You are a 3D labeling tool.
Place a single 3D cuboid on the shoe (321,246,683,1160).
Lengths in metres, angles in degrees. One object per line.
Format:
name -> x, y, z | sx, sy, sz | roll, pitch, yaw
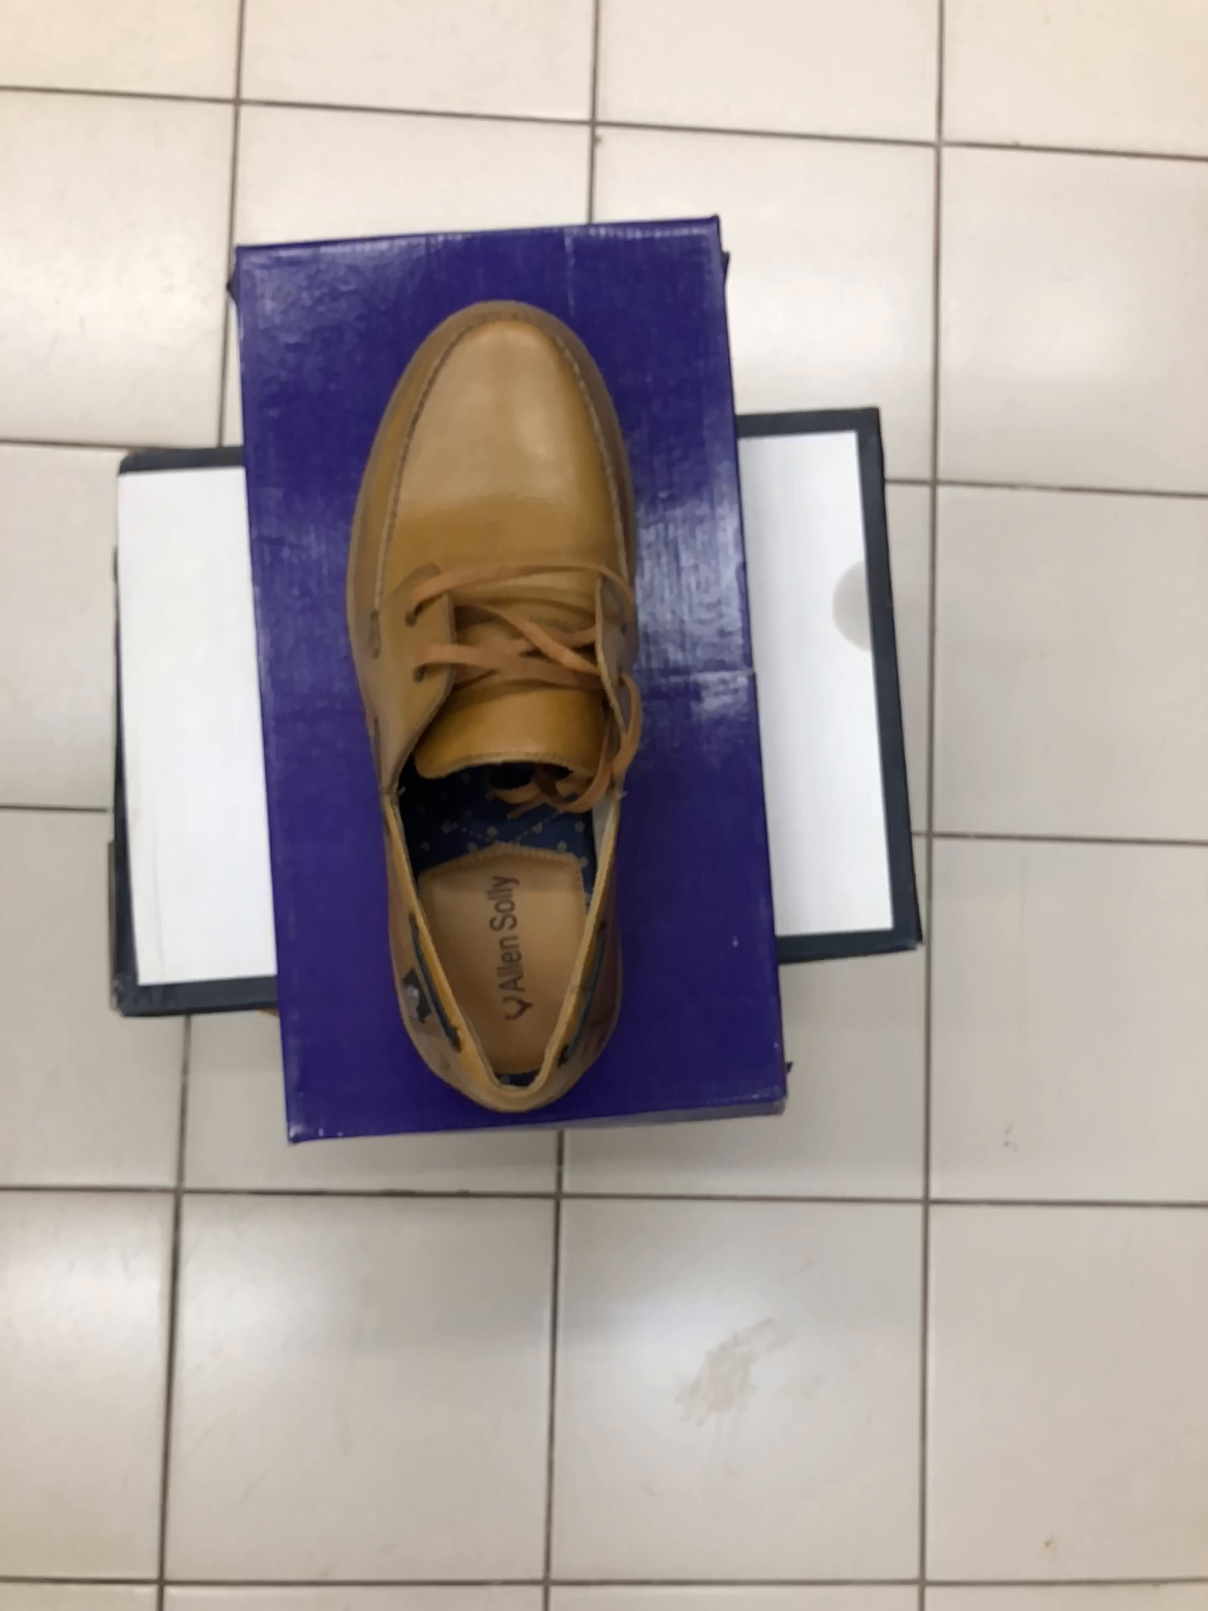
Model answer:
shoe -> -0.033, -0.029, 0.439 | 0.100, 0.110, 0.260 | -1, 86, -4
